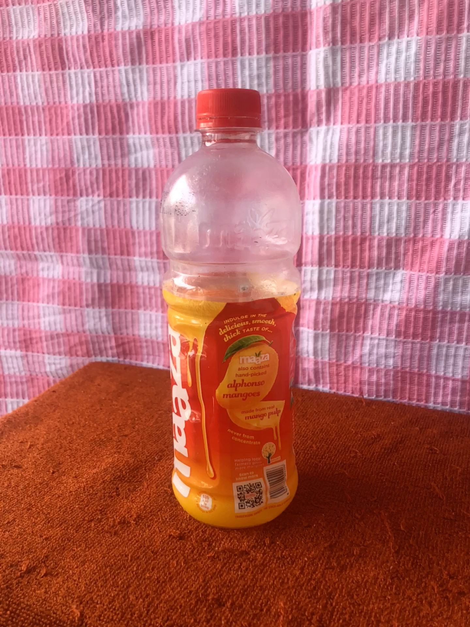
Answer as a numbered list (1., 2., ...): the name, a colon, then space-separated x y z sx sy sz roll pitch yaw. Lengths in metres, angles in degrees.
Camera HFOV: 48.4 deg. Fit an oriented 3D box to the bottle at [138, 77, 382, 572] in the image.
1. bottle: 0.009 0.003 0.259 0.070 0.209 0.080 -14 23 -36
